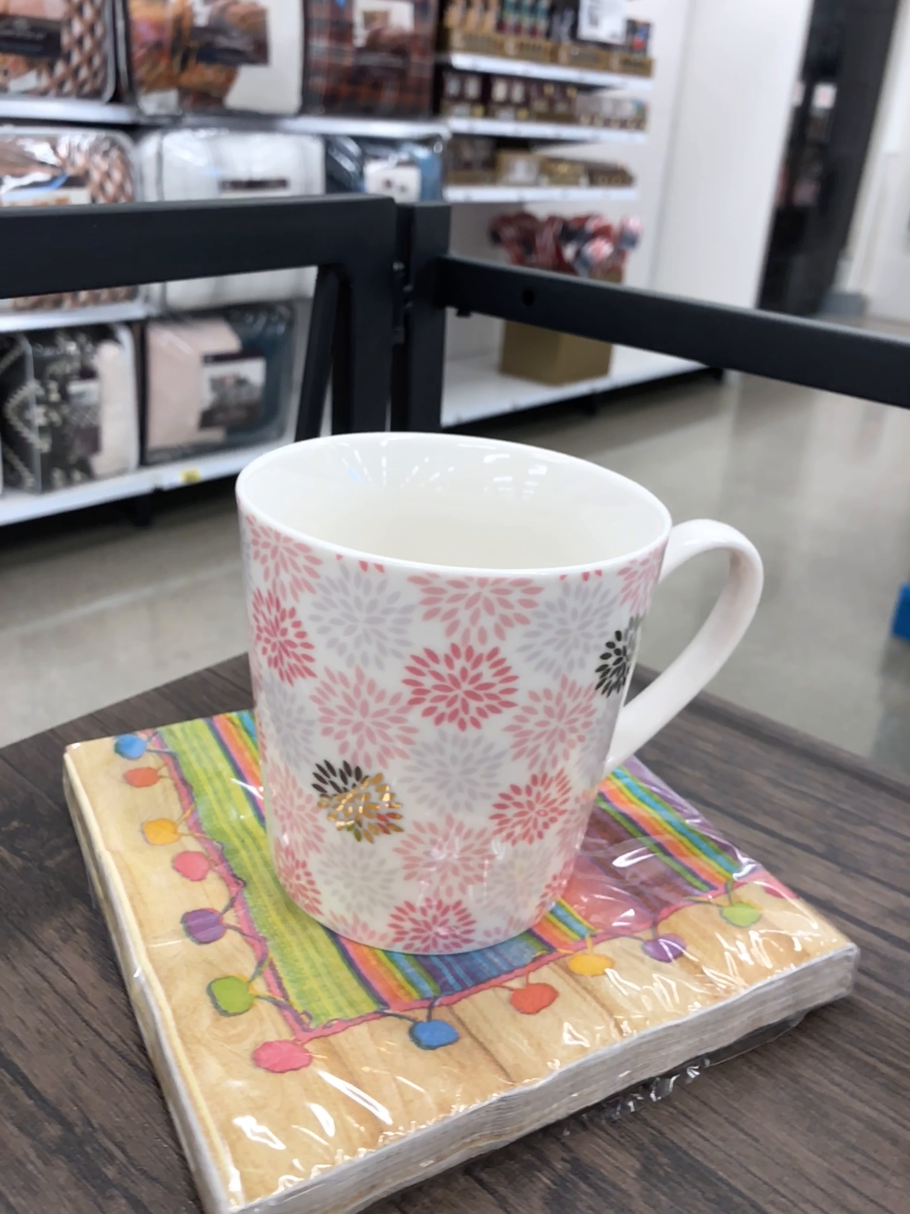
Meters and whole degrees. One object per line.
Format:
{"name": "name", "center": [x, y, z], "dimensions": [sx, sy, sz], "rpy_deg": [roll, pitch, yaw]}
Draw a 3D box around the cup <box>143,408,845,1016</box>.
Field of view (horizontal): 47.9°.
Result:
{"name": "cup", "center": [0.002, 0.014, 0.268], "dimensions": [0.140, 0.100, 0.100], "rpy_deg": [-8, 28, -23]}
